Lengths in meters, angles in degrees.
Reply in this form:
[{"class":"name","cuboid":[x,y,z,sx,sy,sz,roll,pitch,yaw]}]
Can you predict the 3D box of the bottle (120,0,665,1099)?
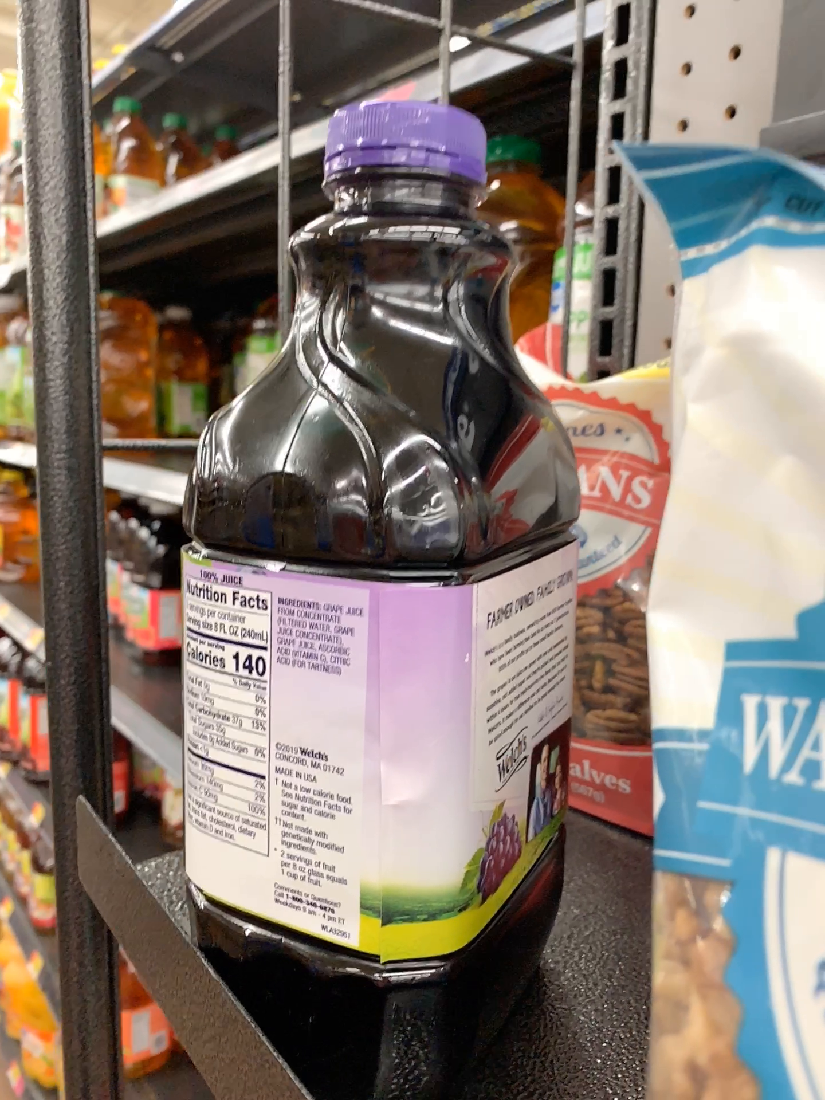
[{"class":"bottle","cuboid":[-0.002,0.010,0.252,0.100,0.259,0.120,7,10,29]}]
